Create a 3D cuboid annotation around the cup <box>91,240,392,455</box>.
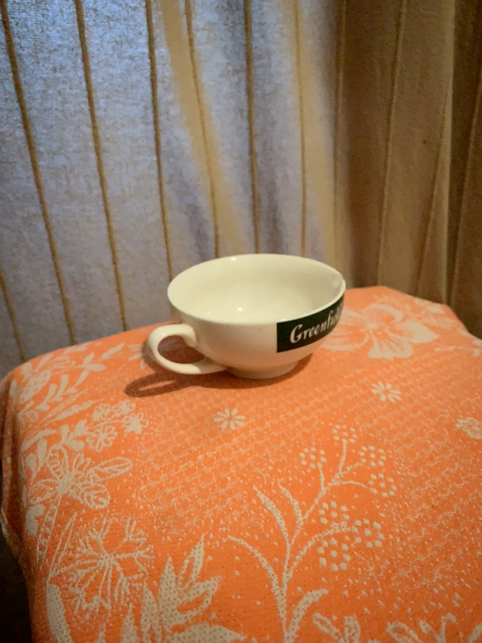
[{"bbox_3d":[0.000,0.001,0.309,0.137,0.056,0.114,-19,31,-35],"label":"cup"}]
